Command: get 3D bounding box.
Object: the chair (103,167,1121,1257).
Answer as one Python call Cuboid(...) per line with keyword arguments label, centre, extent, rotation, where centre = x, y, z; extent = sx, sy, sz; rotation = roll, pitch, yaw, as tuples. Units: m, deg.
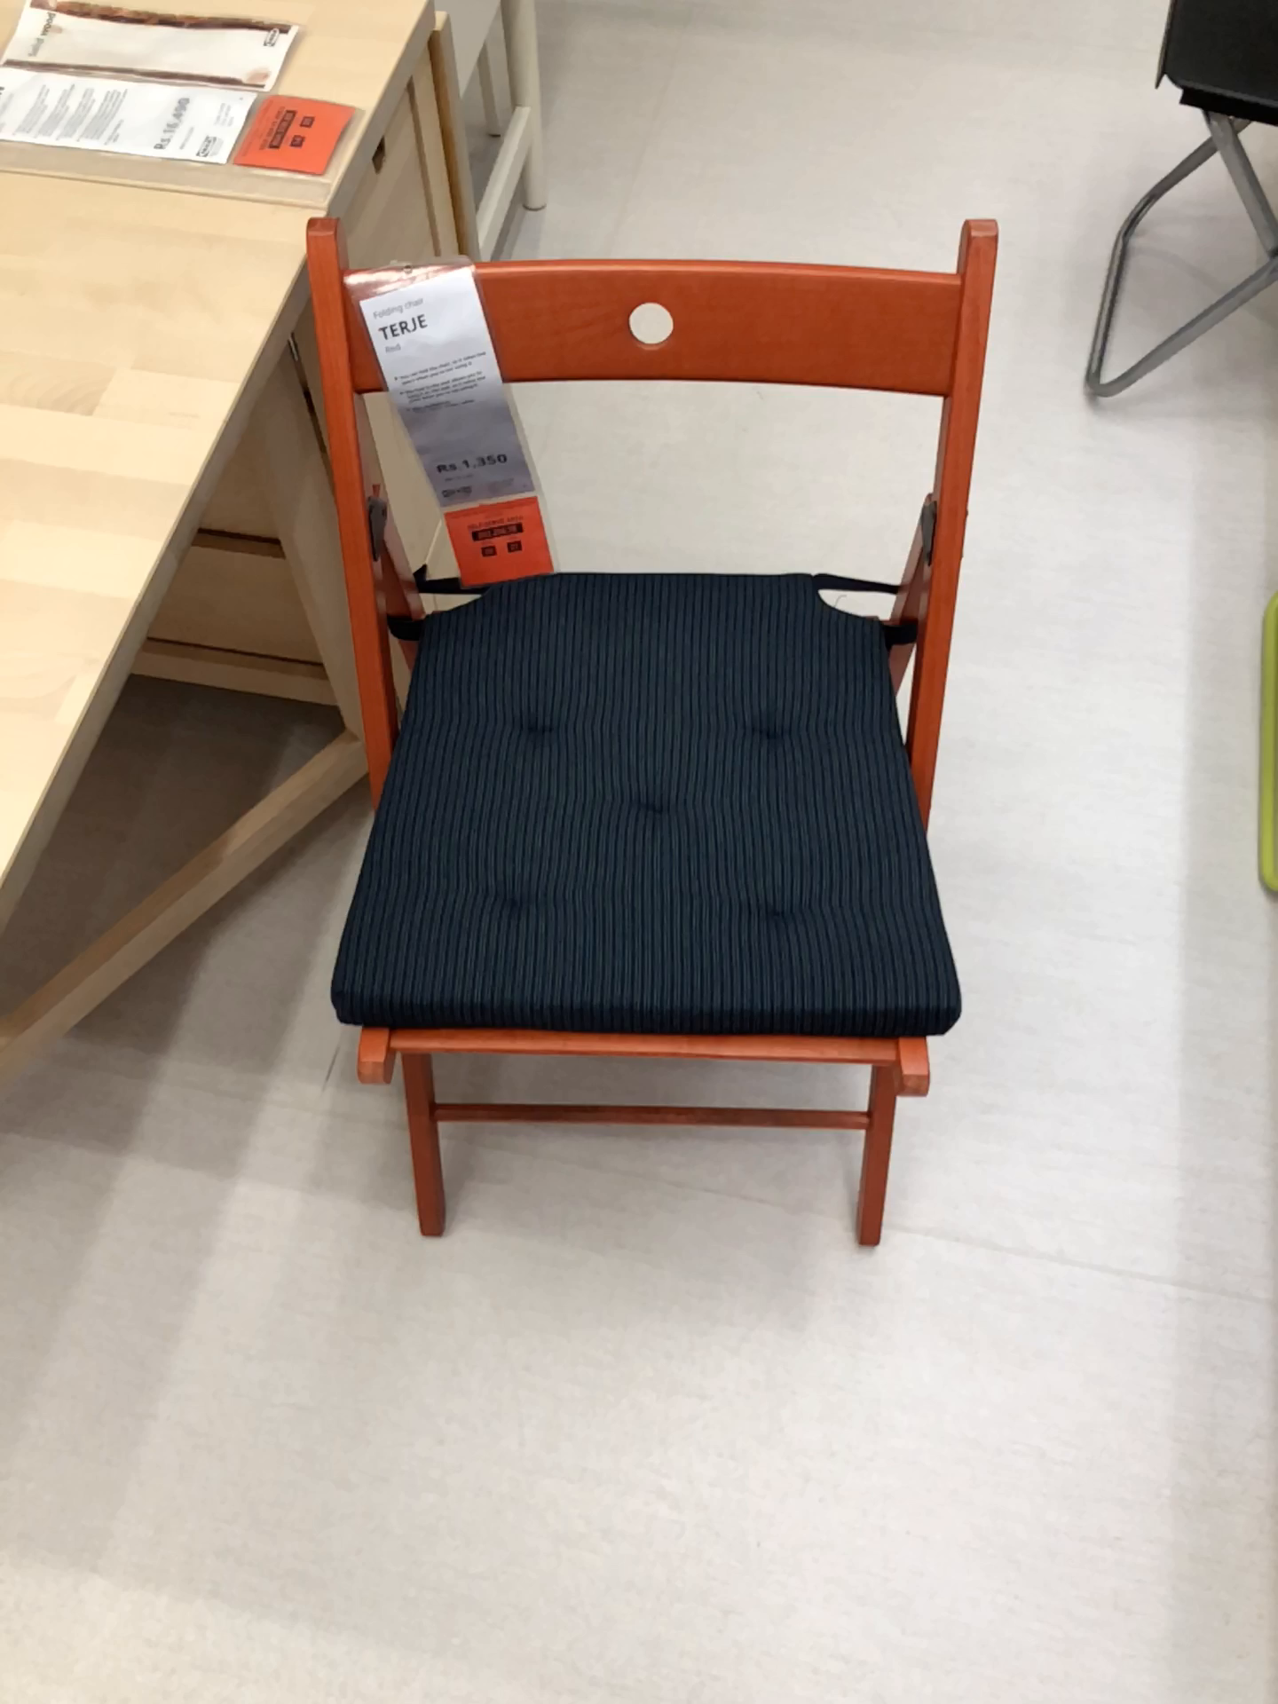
Cuboid(label="chair", centre=(0.002, -0.039, 1.086), extent=(0.470, 0.717, 0.502), rotation=(2, 60, 2))
